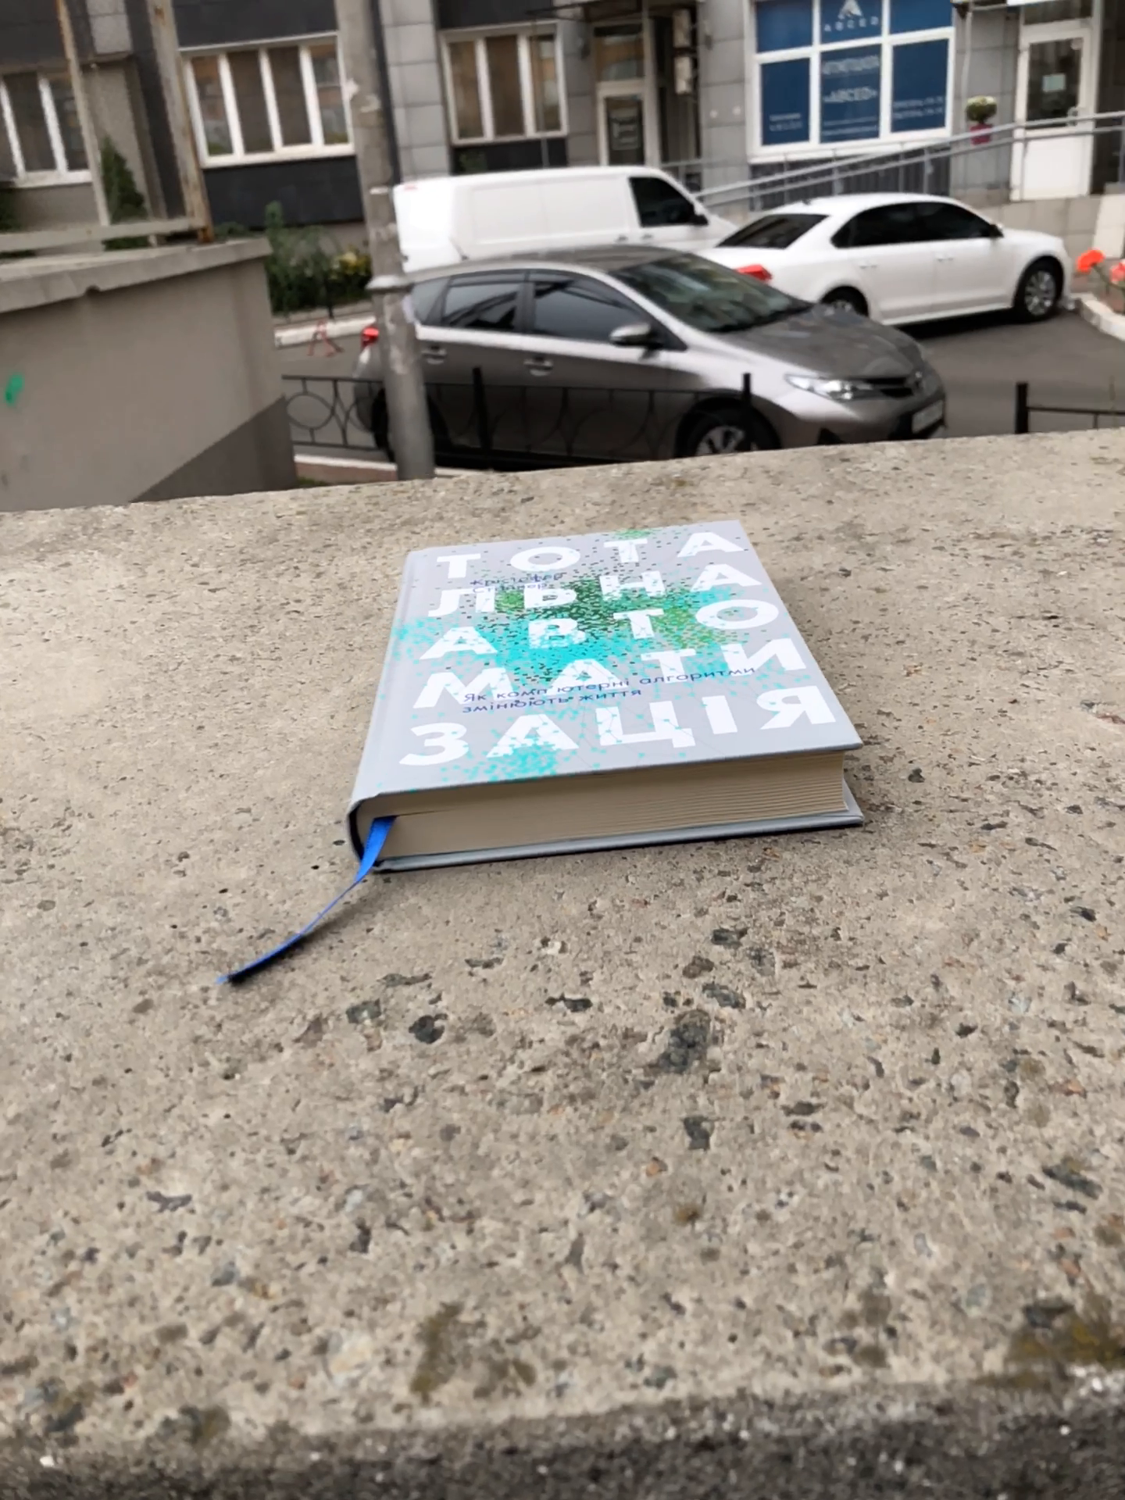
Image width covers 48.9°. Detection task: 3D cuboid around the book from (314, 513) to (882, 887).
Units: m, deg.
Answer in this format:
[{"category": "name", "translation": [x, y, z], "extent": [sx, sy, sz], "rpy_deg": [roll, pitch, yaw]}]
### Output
[{"category": "book", "translation": [0.005, -0.032, 0.443], "extent": [0.156, 0.030, 0.222], "rpy_deg": [-6, 27, 0]}]
